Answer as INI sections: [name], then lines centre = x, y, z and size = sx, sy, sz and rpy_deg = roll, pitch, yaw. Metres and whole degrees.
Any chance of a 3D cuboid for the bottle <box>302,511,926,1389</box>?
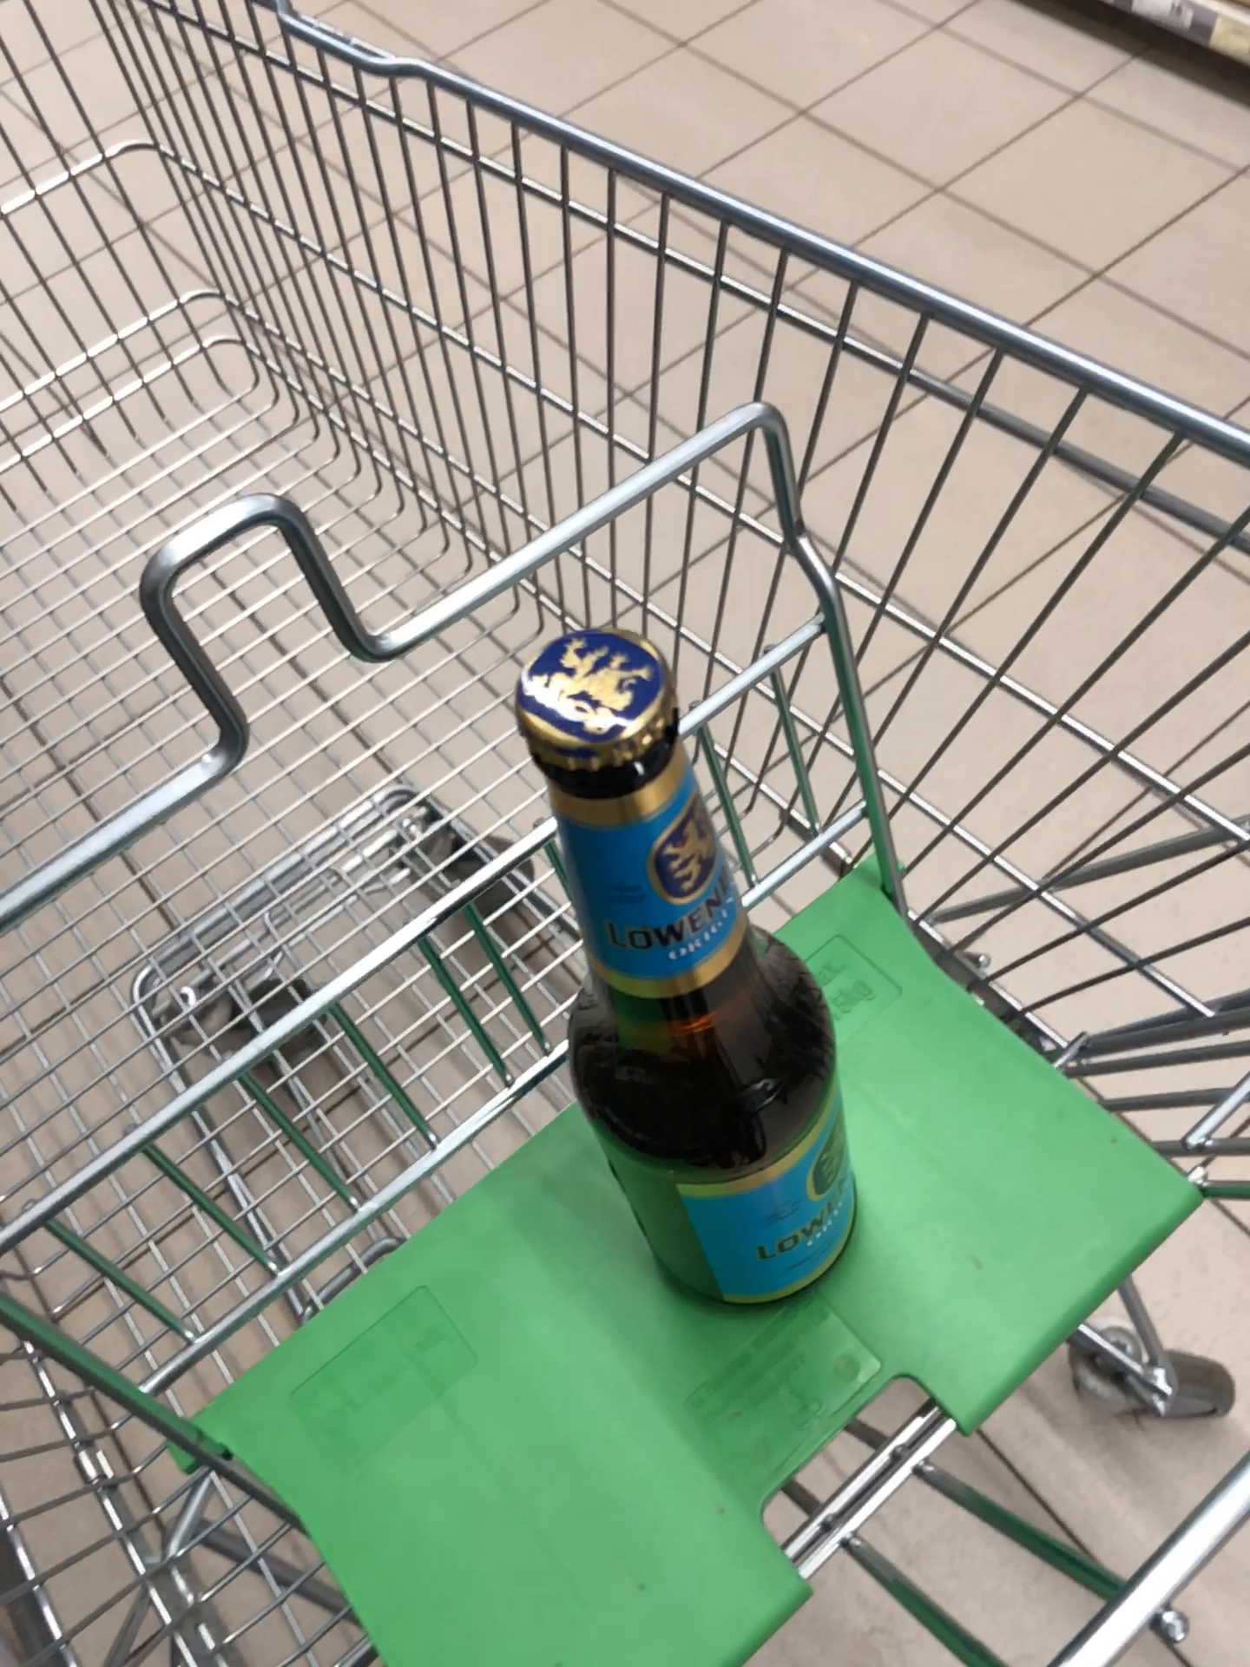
[bottle]
centre = 0.021, 0.050, 0.325
size = 0.070, 0.249, 0.080
rpy_deg = 21, 64, 24
